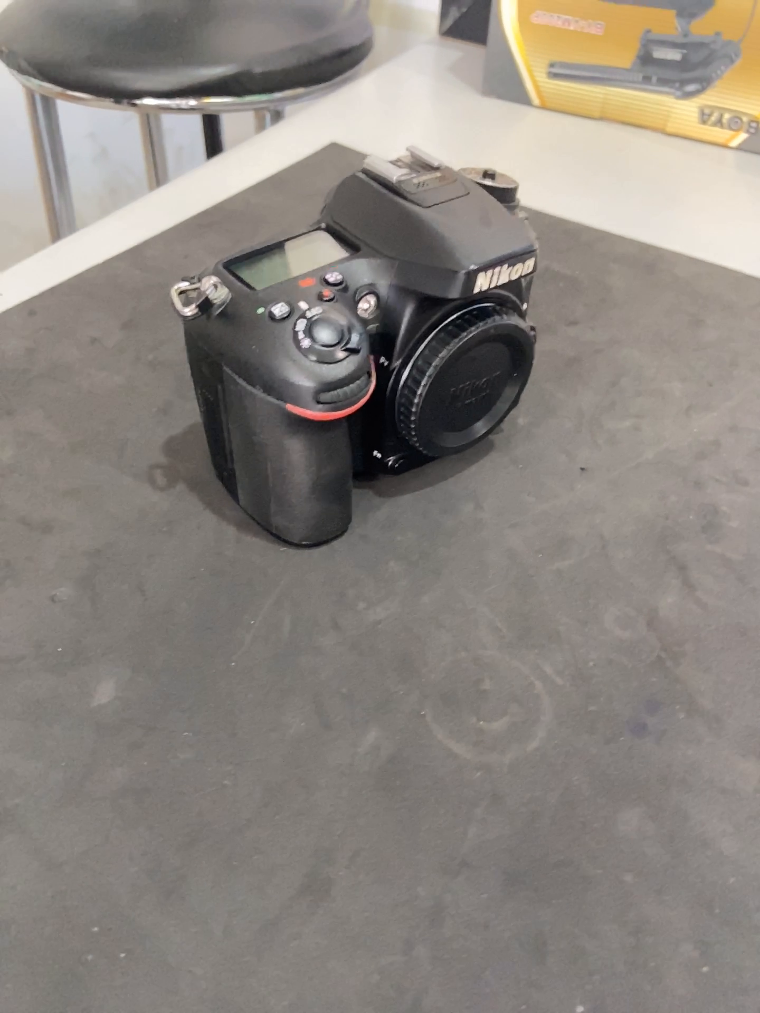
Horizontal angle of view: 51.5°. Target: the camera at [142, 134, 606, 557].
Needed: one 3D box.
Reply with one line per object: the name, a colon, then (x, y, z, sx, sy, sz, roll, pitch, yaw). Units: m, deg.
camera: (0.000, -0.067, 0.299, 0.140, 0.092, 0.078, -30, 53, -29)
